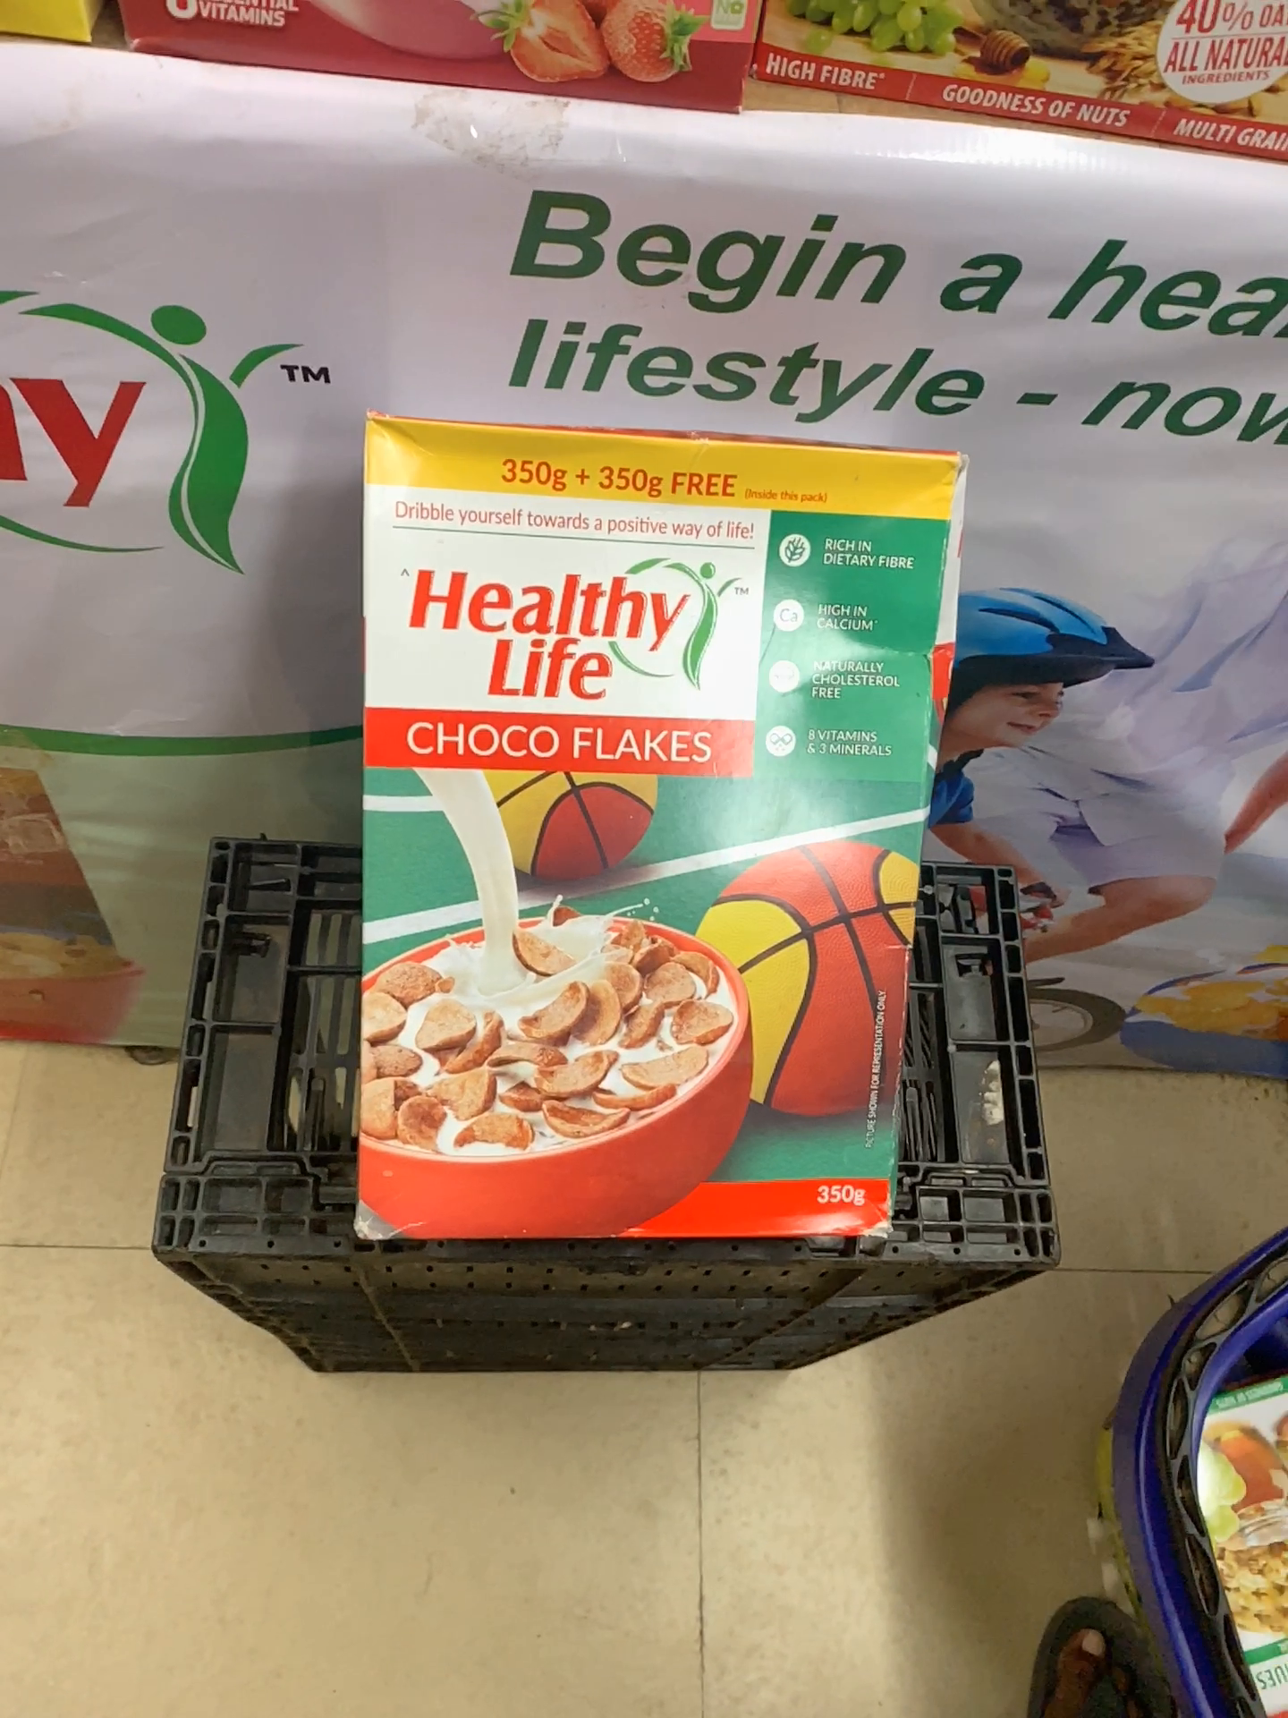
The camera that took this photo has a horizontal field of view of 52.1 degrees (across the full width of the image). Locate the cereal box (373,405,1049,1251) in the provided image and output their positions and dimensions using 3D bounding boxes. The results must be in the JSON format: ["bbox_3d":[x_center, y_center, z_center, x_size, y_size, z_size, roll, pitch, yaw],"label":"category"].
[{"bbox_3d":[0.013,-0.008,0.481,0.210,0.090,0.280,1,103,-6],"label":"cereal box"}]
